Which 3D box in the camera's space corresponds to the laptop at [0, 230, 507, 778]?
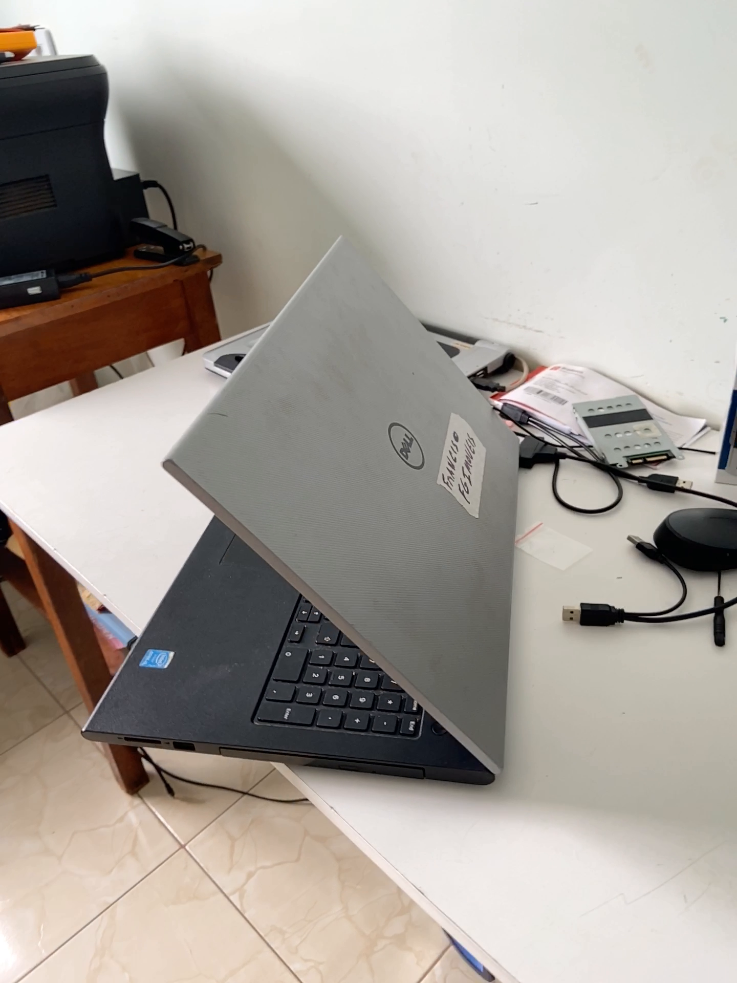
[{"bbox_3d":[-0.034,-0.031,0.563,0.257,0.204,0.376,2,35,11],"label":"laptop"}]
